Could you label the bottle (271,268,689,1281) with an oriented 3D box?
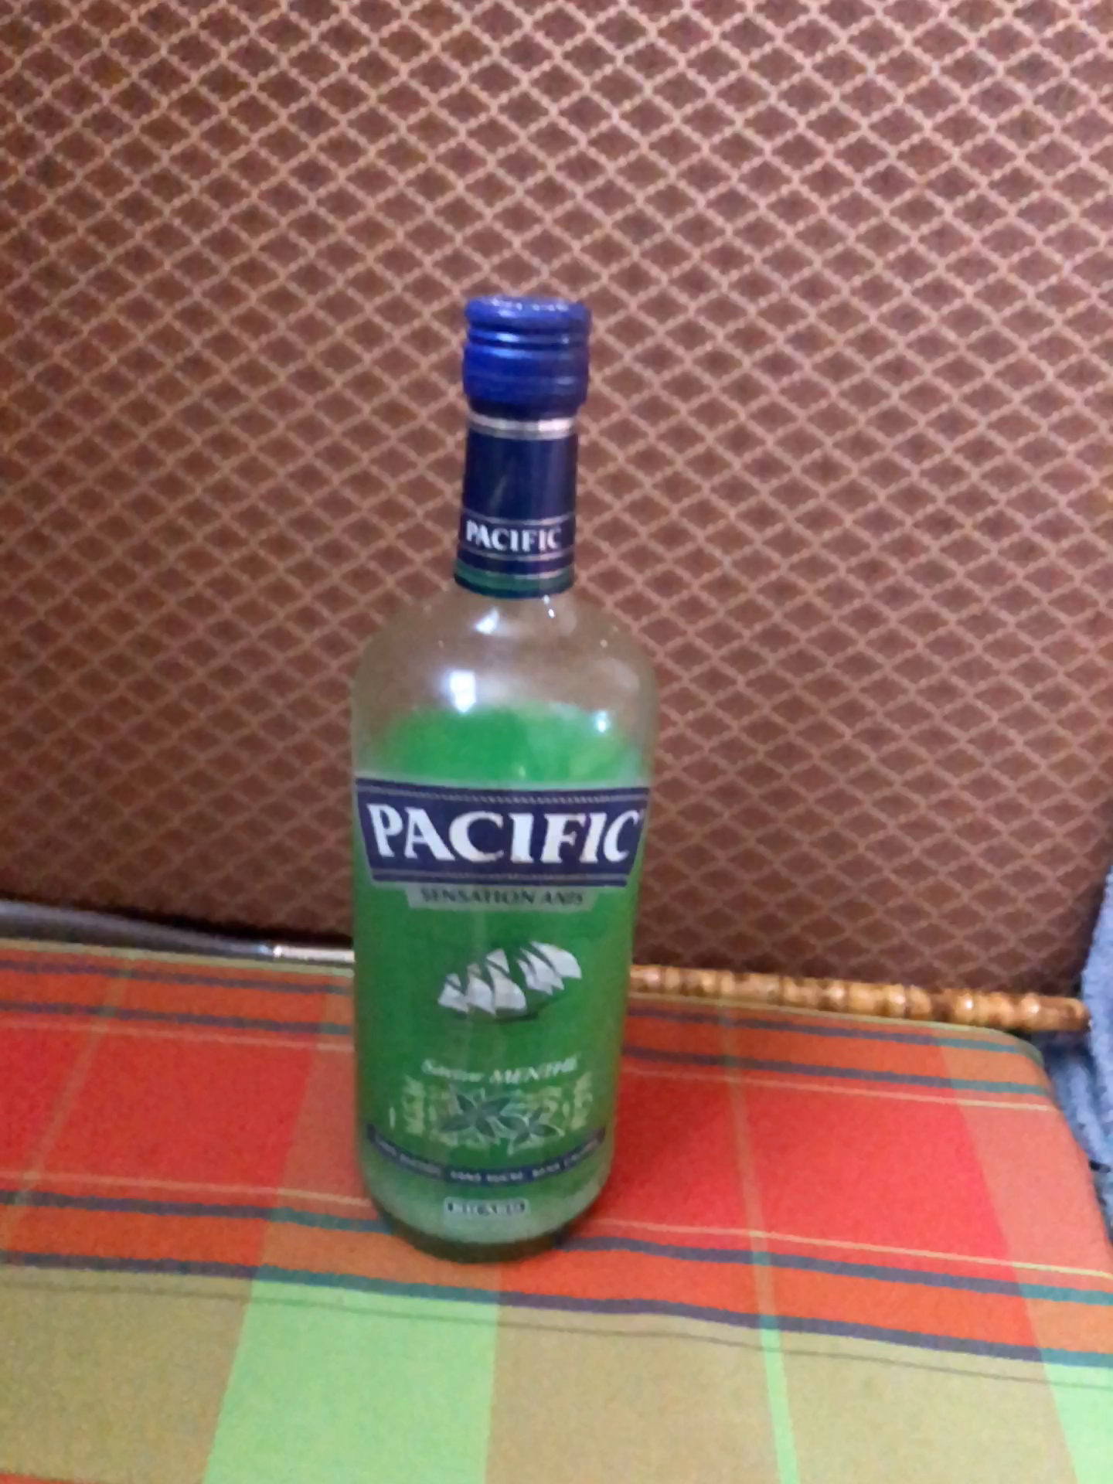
[{"bbox_3d":[-0.025,0.020,0.365,0.090,0.289,0.080,0,26,-6],"label":"bottle"}]
